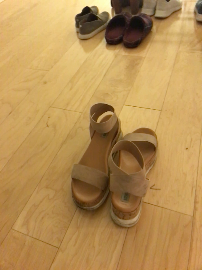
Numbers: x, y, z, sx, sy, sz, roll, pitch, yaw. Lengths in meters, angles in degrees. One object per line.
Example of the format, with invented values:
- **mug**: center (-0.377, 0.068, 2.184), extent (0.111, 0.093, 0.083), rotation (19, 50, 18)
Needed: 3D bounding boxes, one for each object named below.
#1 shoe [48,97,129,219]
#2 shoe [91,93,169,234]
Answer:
- **shoe**: center (-0.009, 0.045, 0.537), extent (0.100, 0.139, 0.252), rotation (10, 50, 16)
- **shoe**: center (0.083, 0.051, 0.521), extent (0.100, 0.139, 0.292), rotation (10, 50, 17)
